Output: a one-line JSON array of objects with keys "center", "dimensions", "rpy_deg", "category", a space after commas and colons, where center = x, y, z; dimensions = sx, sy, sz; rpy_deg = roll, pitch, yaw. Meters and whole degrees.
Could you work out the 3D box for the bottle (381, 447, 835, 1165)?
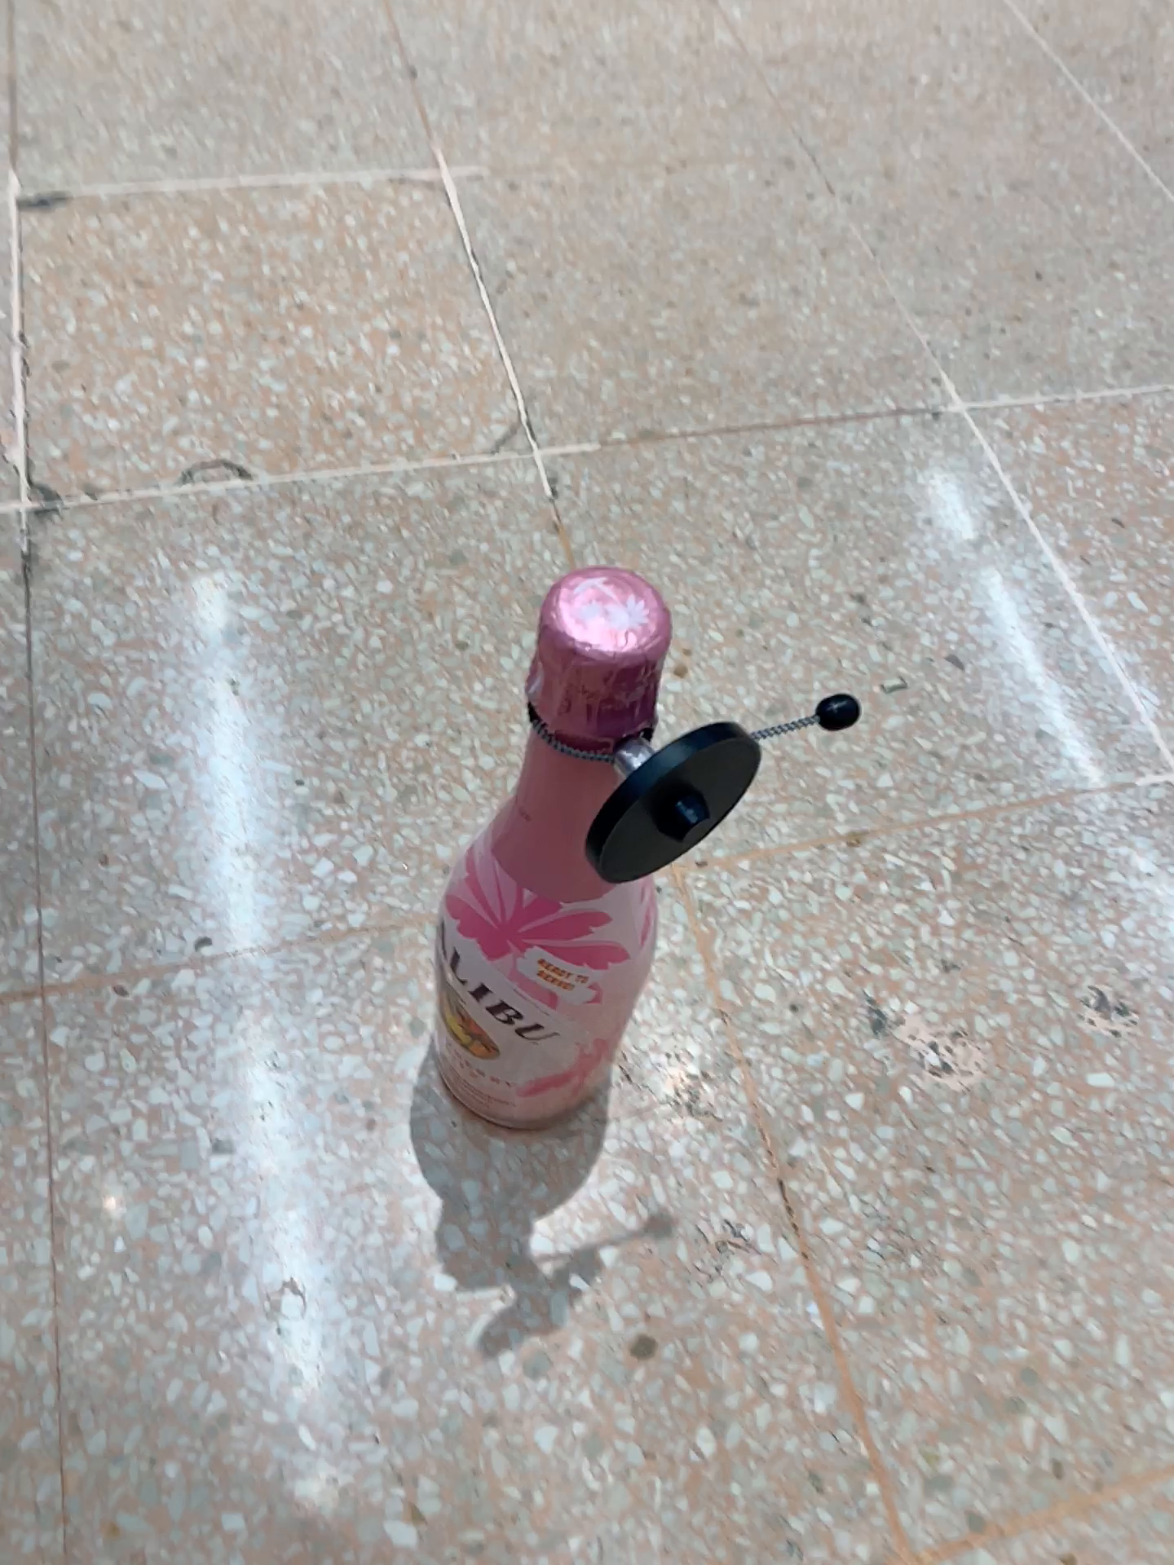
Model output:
[{"center": [-0.012, 0.038, 0.421], "dimensions": [0.080, 0.308, 0.080], "rpy_deg": [3, 58, -5], "category": "bottle"}]
